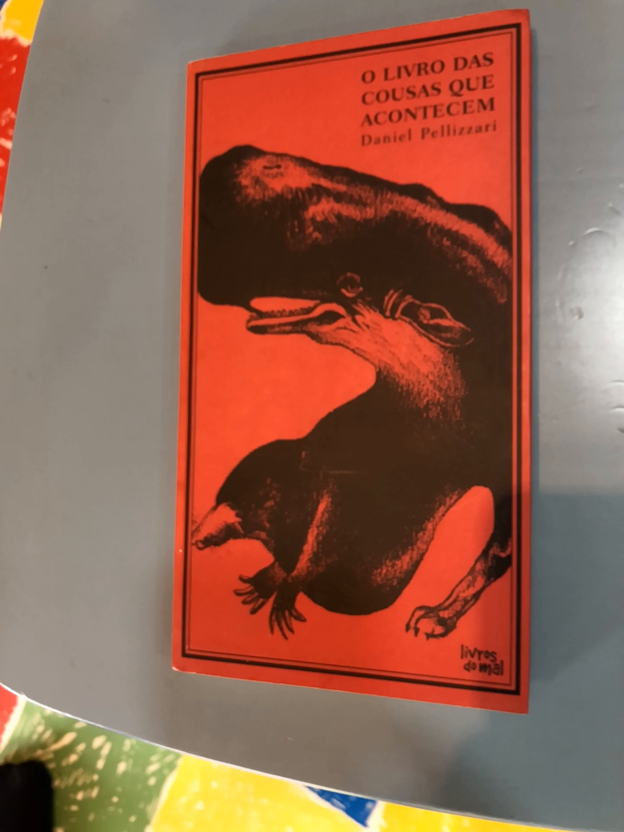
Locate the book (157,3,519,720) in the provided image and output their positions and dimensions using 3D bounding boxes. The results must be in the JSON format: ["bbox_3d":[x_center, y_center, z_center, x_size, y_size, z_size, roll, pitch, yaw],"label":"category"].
[{"bbox_3d":[0.007,-0.017,0.220,0.110,0.016,0.200,0,87,18],"label":"book"}]
